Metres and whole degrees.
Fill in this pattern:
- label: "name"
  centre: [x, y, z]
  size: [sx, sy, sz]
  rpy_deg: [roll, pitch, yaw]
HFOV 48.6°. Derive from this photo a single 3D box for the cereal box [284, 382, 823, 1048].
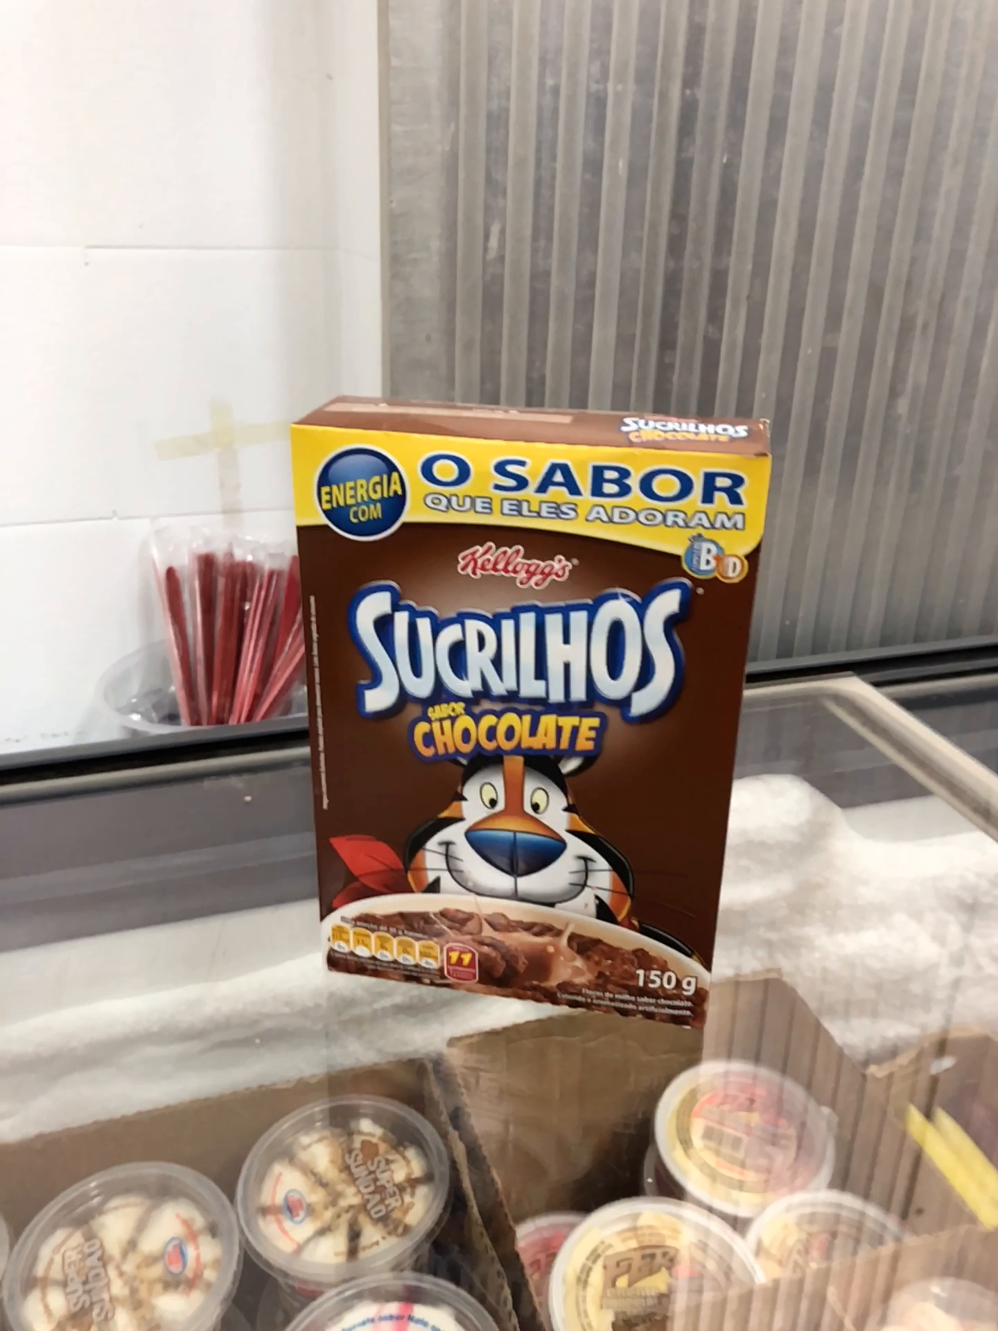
- label: "cereal box"
  centre: [0.014, 0.020, 0.372]
  size: [0.150, 0.209, 0.050]
  rpy_deg: [6, 25, 8]
